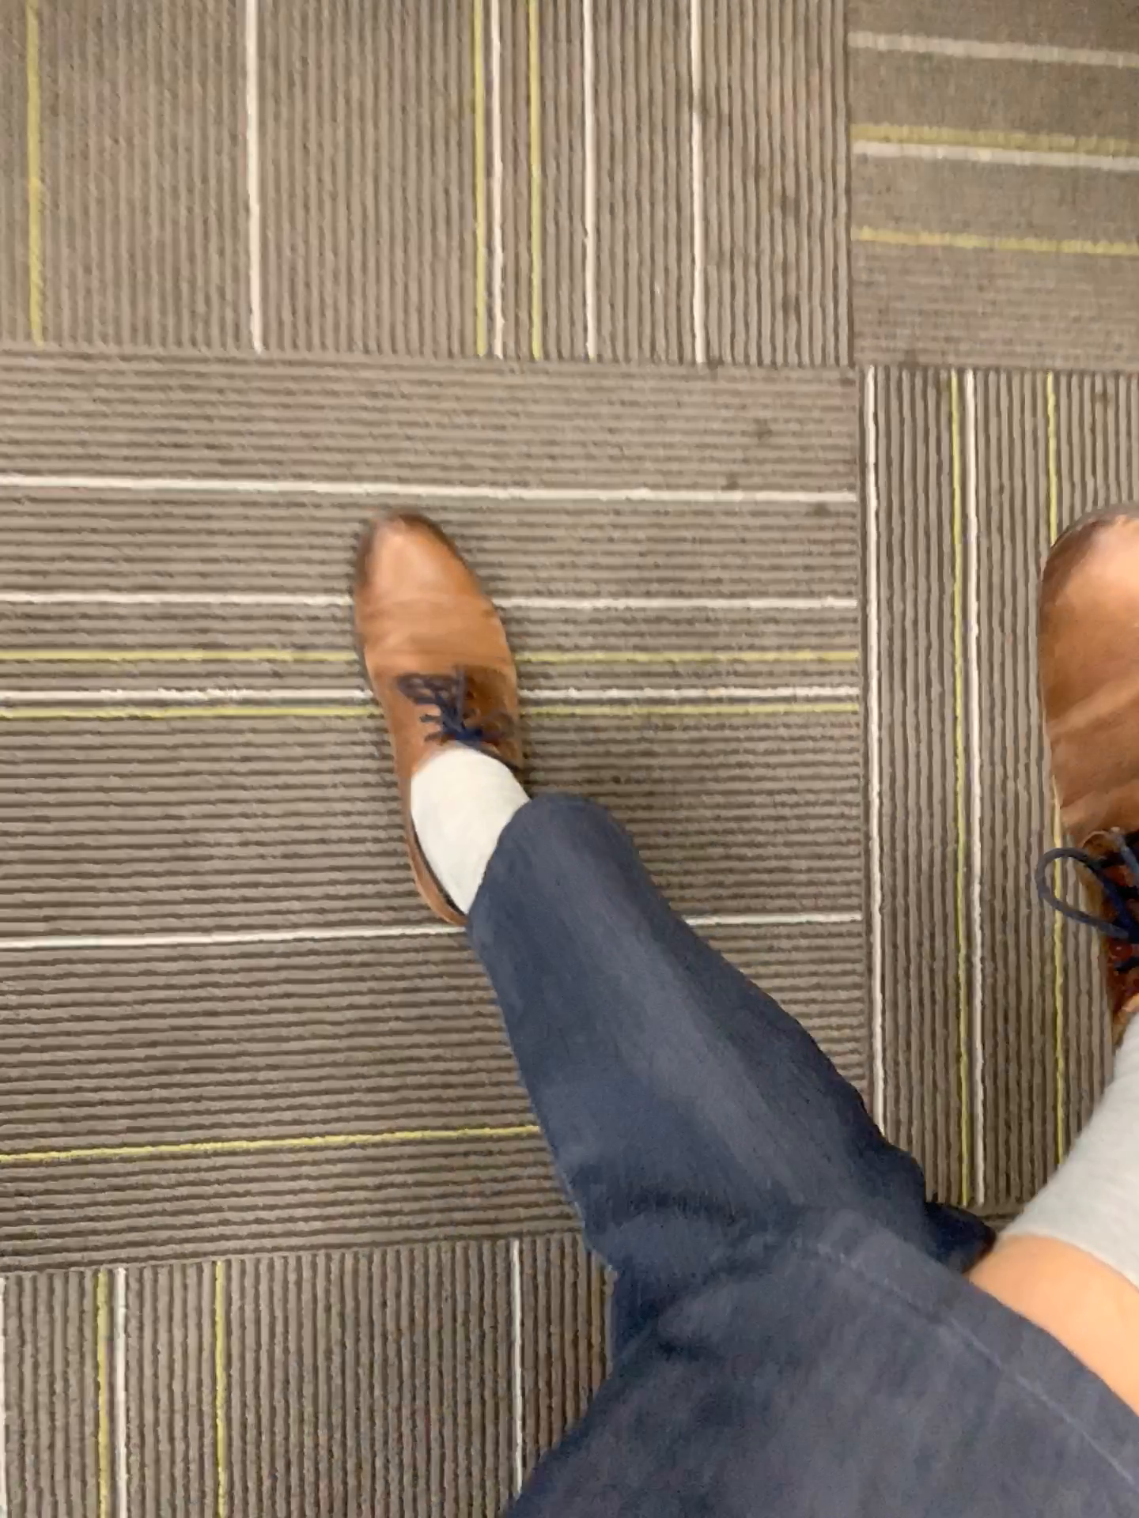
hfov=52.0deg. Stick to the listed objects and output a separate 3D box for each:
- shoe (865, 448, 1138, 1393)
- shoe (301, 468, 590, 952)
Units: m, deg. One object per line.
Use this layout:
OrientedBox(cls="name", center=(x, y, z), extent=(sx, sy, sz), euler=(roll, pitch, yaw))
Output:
OrientedBox(cls="shoe", center=(0.225, 0.052, 0.422), extent=(0.082, 0.114, 0.293), euler=(-16, 86, -37))
OrientedBox(cls="shoe", center=(-0.079, -0.030, 0.743), extent=(0.112, 0.068, 0.276), euler=(-14, 92, -7))
